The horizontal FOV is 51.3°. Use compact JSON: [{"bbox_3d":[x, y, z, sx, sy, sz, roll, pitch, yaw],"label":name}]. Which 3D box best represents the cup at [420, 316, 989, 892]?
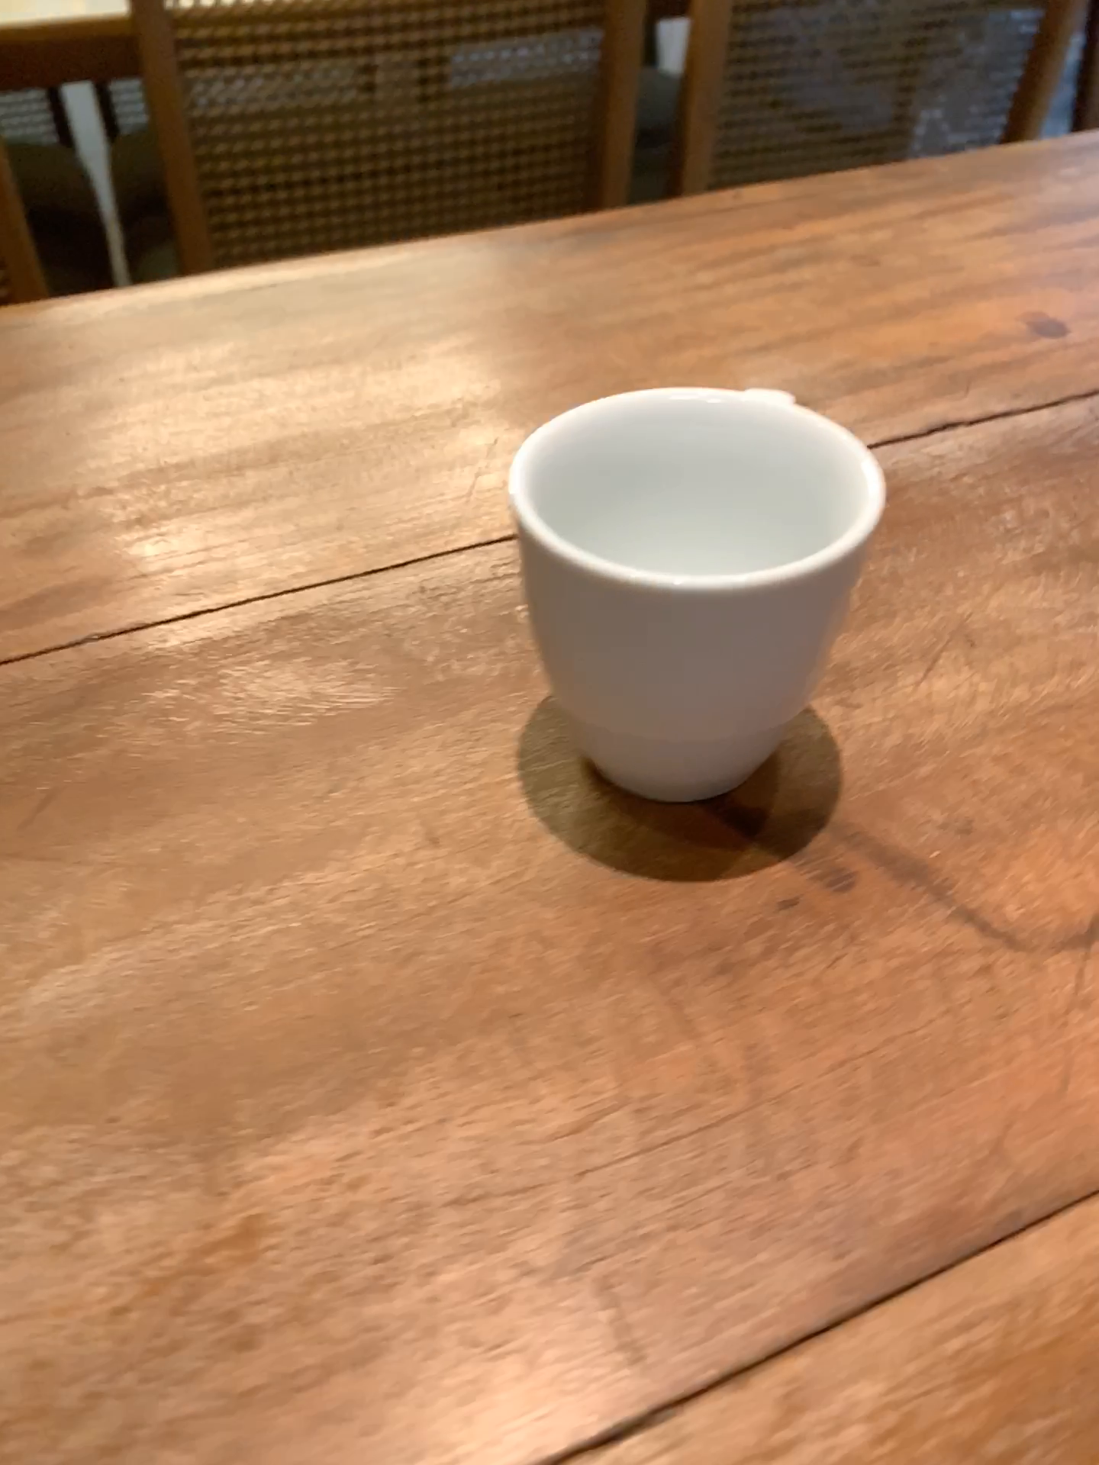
[{"bbox_3d":[0.030,-0.029,0.208,0.060,0.050,0.090,23,47,24],"label":"cup"}]
